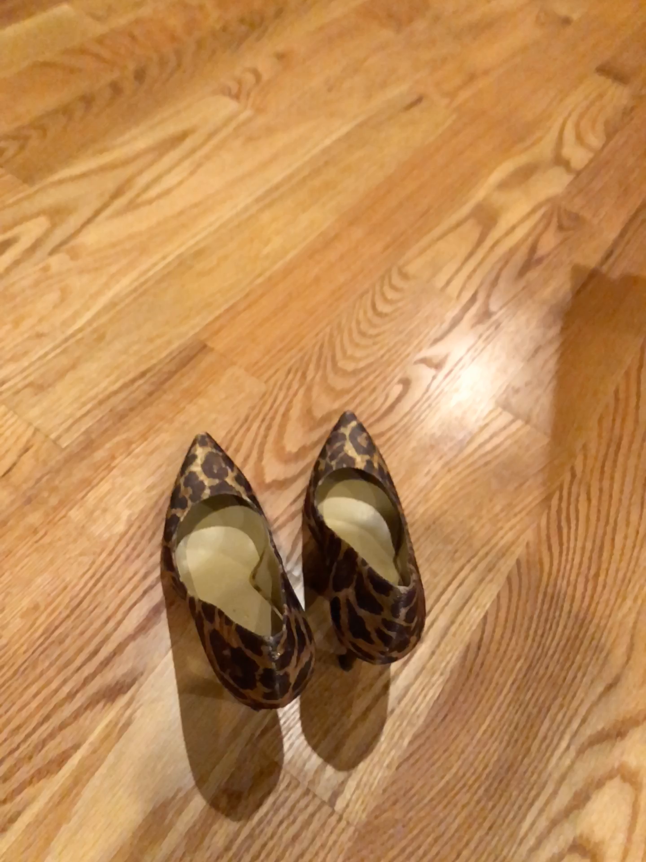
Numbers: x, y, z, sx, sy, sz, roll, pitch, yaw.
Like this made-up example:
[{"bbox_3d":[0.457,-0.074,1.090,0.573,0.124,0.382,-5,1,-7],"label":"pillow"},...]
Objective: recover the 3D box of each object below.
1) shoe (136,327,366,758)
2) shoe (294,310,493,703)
[{"bbox_3d":[-0.059,0.068,0.456,0.084,0.144,0.219,-8,57,-16],"label":"shoe"},{"bbox_3d":[0.032,0.051,0.485,0.083,0.144,0.219,3,54,-8],"label":"shoe"}]
